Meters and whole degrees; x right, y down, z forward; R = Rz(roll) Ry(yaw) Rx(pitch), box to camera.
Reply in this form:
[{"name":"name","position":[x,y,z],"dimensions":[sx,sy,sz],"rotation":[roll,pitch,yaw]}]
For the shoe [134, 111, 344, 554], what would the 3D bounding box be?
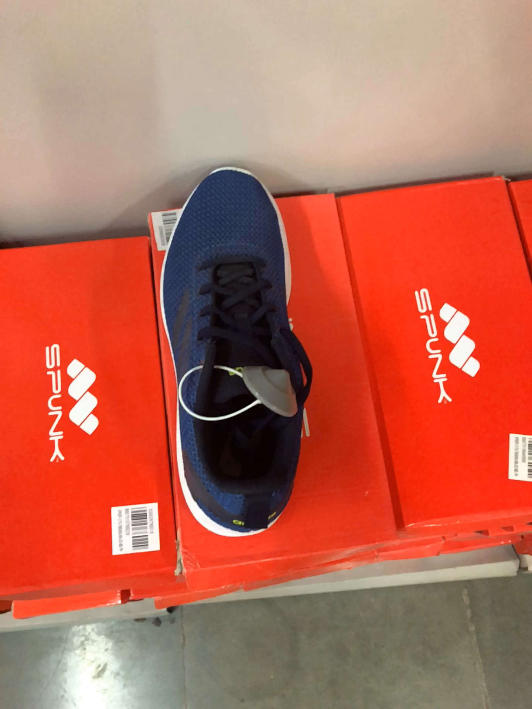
[{"name":"shoe","position":[-0.029,-0.020,0.458],"dimensions":[0.113,0.114,0.316],"rotation":[-6,69,-4]}]
